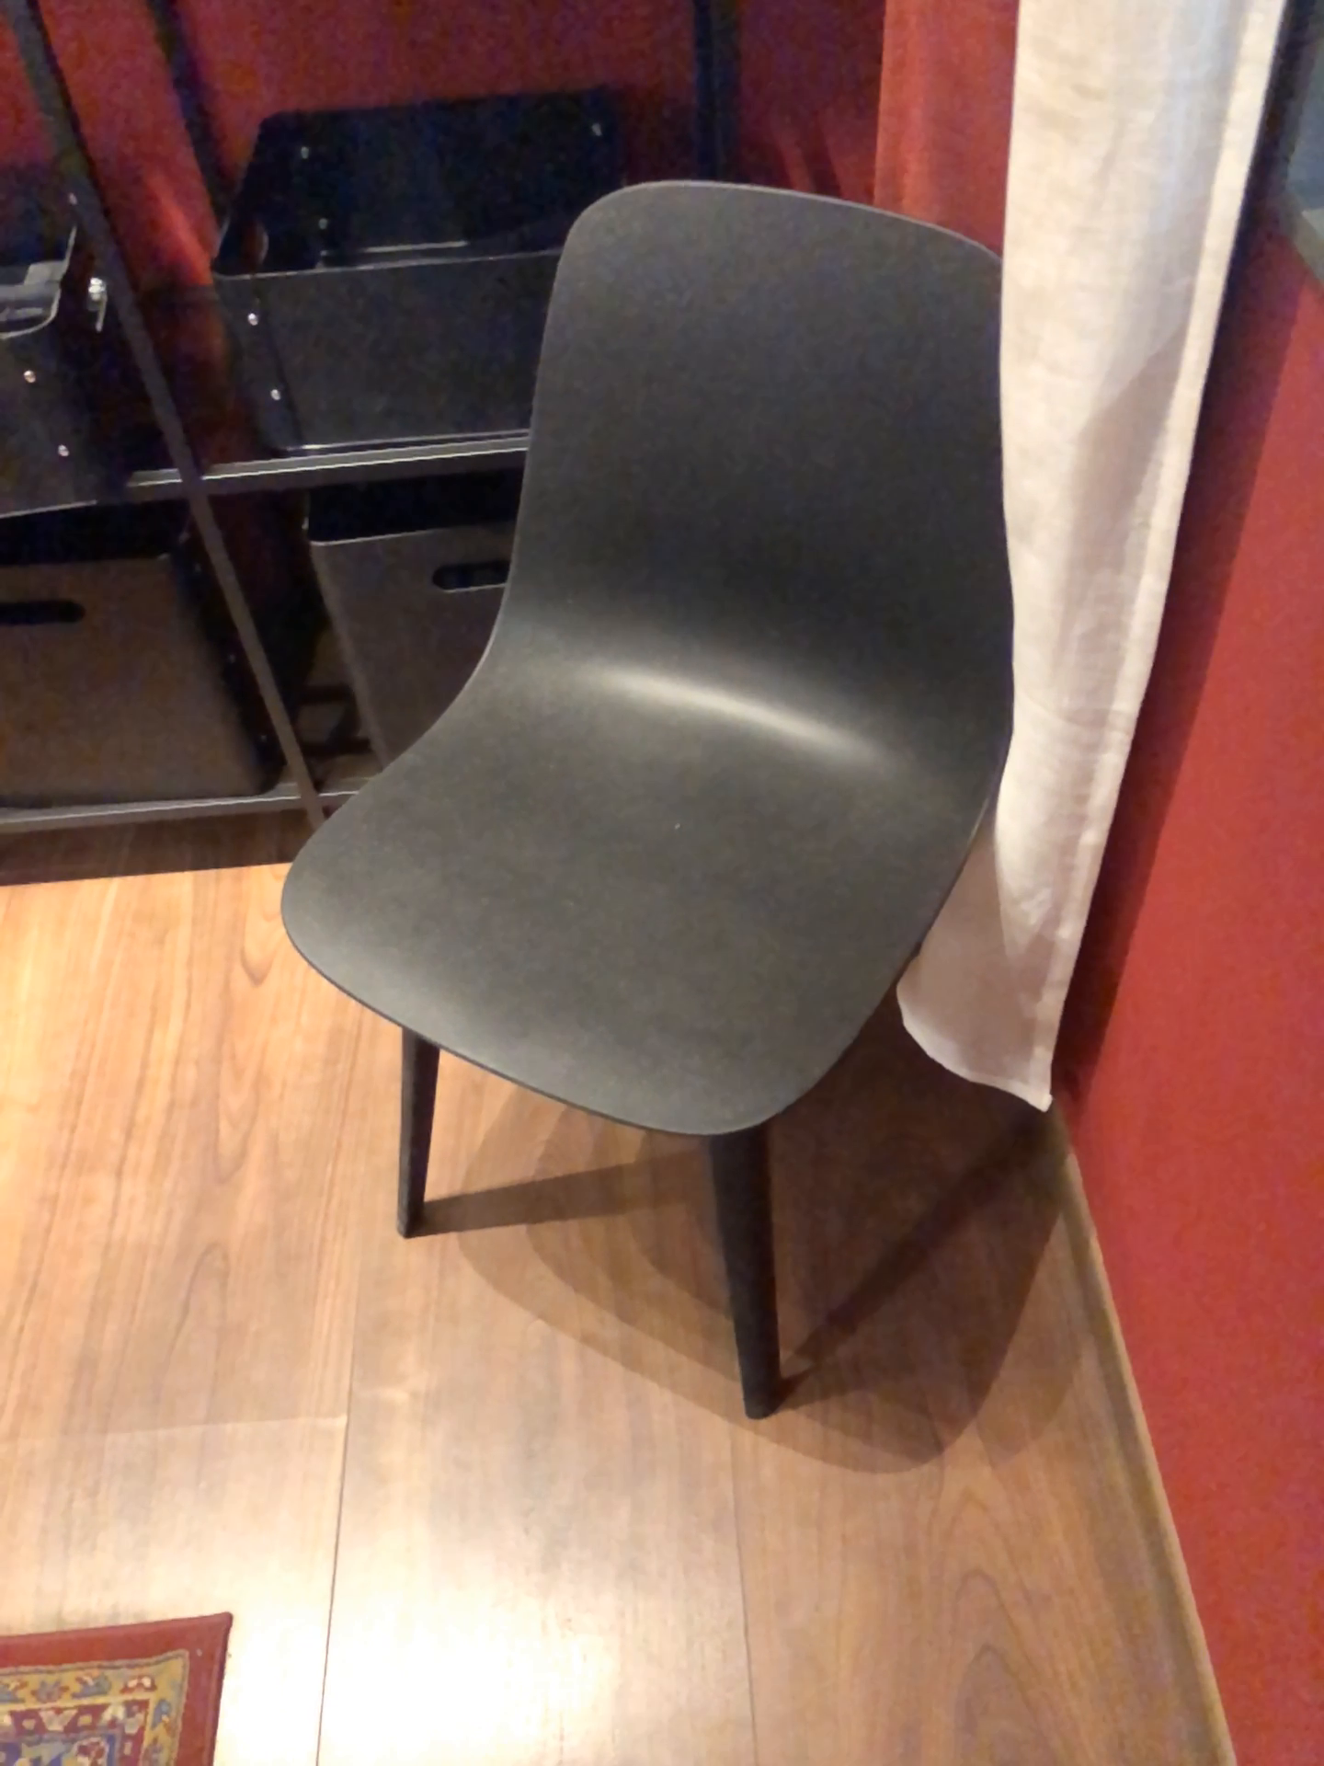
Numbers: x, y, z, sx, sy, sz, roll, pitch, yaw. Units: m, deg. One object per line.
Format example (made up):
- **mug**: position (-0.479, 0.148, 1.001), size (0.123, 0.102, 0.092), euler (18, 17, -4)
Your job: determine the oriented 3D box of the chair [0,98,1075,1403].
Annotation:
- **chair**: position (-0.036, -0.061, 1.055), size (0.411, 0.726, 0.482), euler (21, 55, 20)
